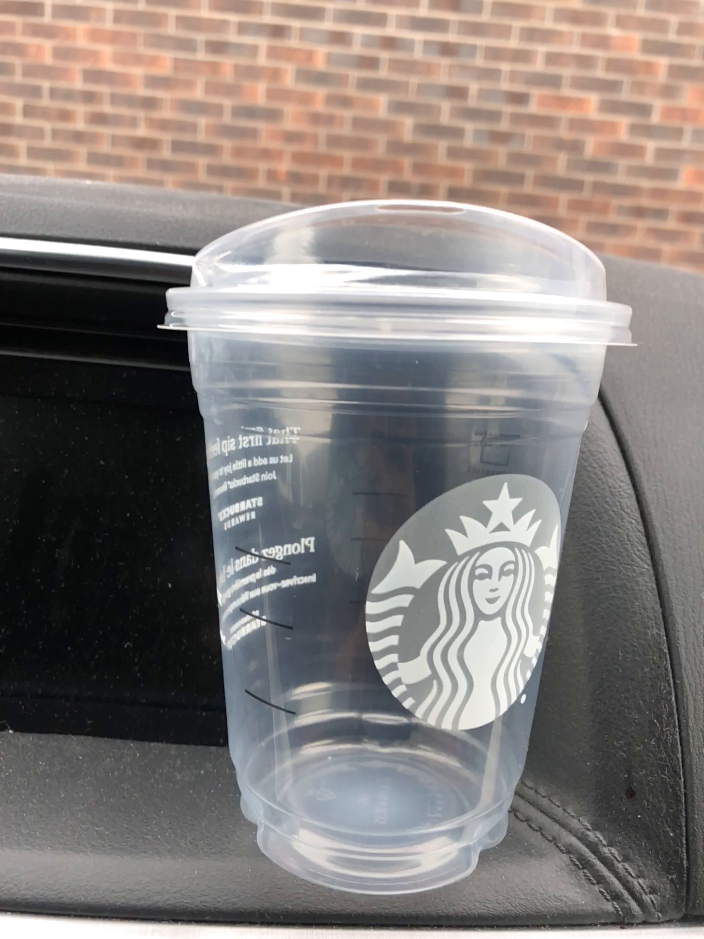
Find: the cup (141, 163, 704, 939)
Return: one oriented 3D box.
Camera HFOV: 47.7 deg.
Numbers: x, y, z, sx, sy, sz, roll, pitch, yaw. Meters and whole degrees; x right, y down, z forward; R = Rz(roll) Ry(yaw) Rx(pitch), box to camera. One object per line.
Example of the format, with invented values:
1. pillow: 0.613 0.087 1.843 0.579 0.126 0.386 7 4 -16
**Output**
1. cup: 0.010 0.011 0.166 0.088 0.125 0.082 5 14 -1
